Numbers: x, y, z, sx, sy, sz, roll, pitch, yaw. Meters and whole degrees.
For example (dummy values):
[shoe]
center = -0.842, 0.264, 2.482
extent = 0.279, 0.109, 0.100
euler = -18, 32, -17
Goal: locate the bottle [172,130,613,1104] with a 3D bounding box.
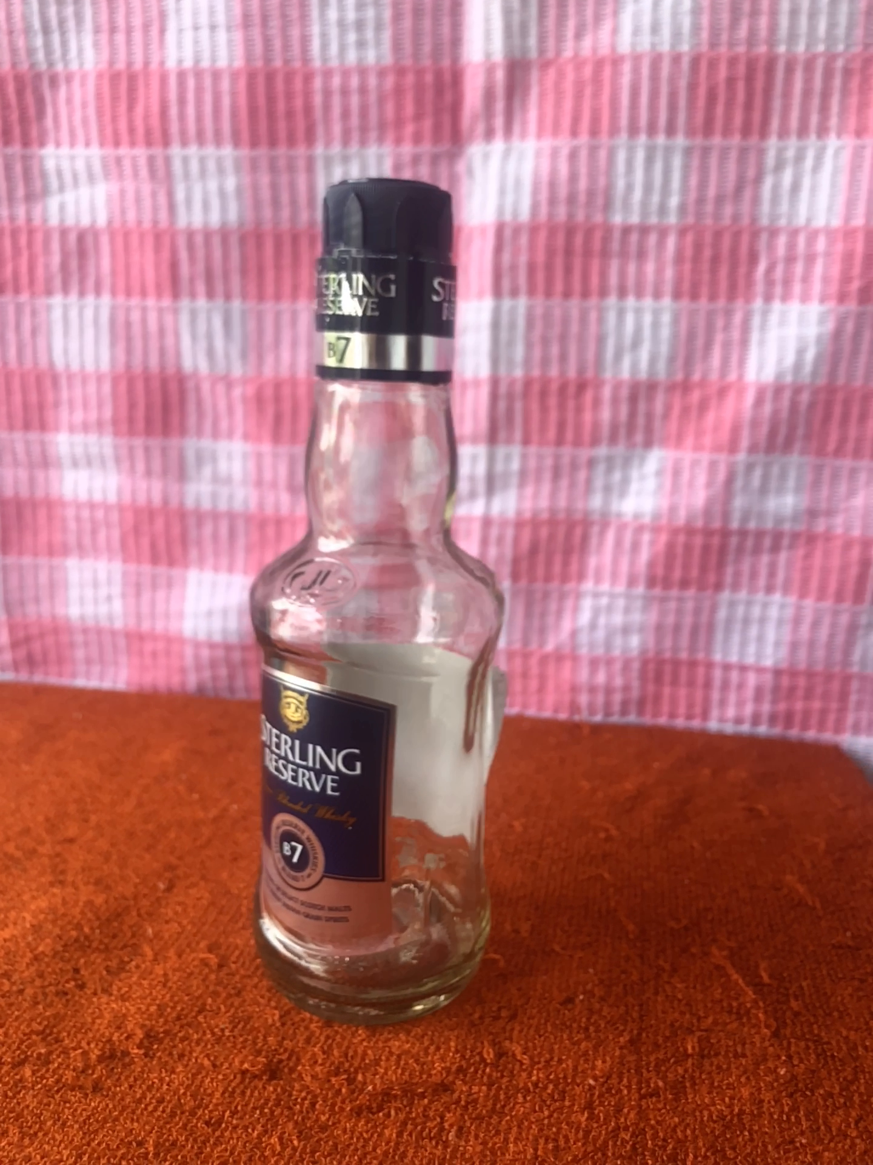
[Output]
[bottle]
center = -0.011, 0.006, 0.199
extent = 0.060, 0.169, 0.050
euler = 14, 20, 33
